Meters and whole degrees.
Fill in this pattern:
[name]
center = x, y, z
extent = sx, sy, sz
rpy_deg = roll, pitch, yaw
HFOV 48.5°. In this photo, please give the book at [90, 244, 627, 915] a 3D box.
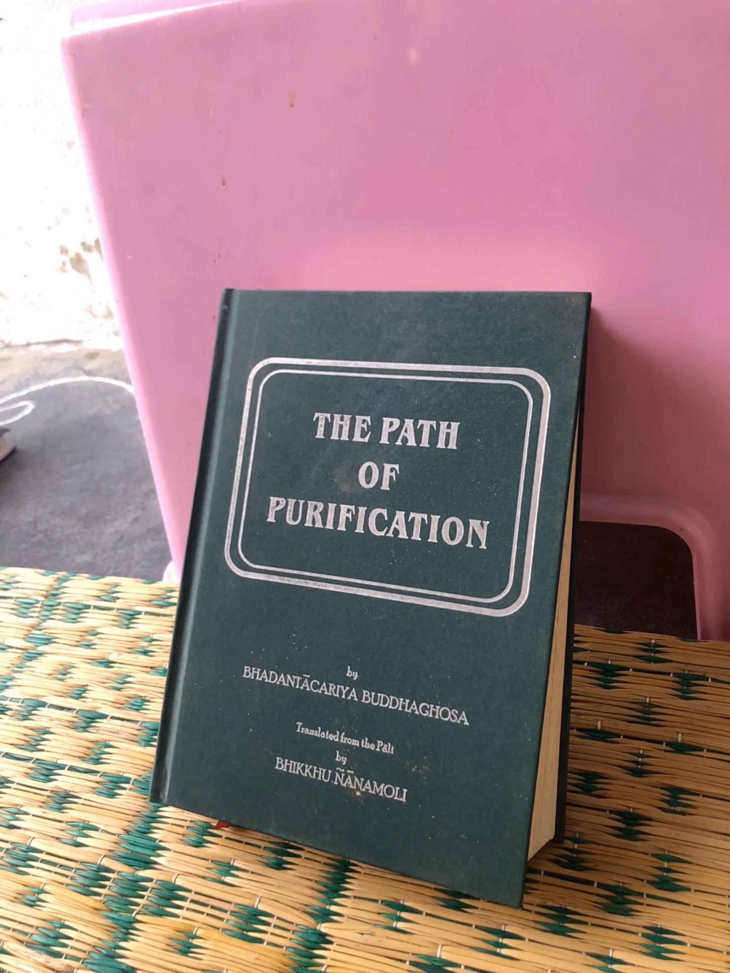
[book]
center = 0.003, 0.023, 0.321
extent = 0.160, 0.080, 0.210
rpy_deg = 6, 80, 25
